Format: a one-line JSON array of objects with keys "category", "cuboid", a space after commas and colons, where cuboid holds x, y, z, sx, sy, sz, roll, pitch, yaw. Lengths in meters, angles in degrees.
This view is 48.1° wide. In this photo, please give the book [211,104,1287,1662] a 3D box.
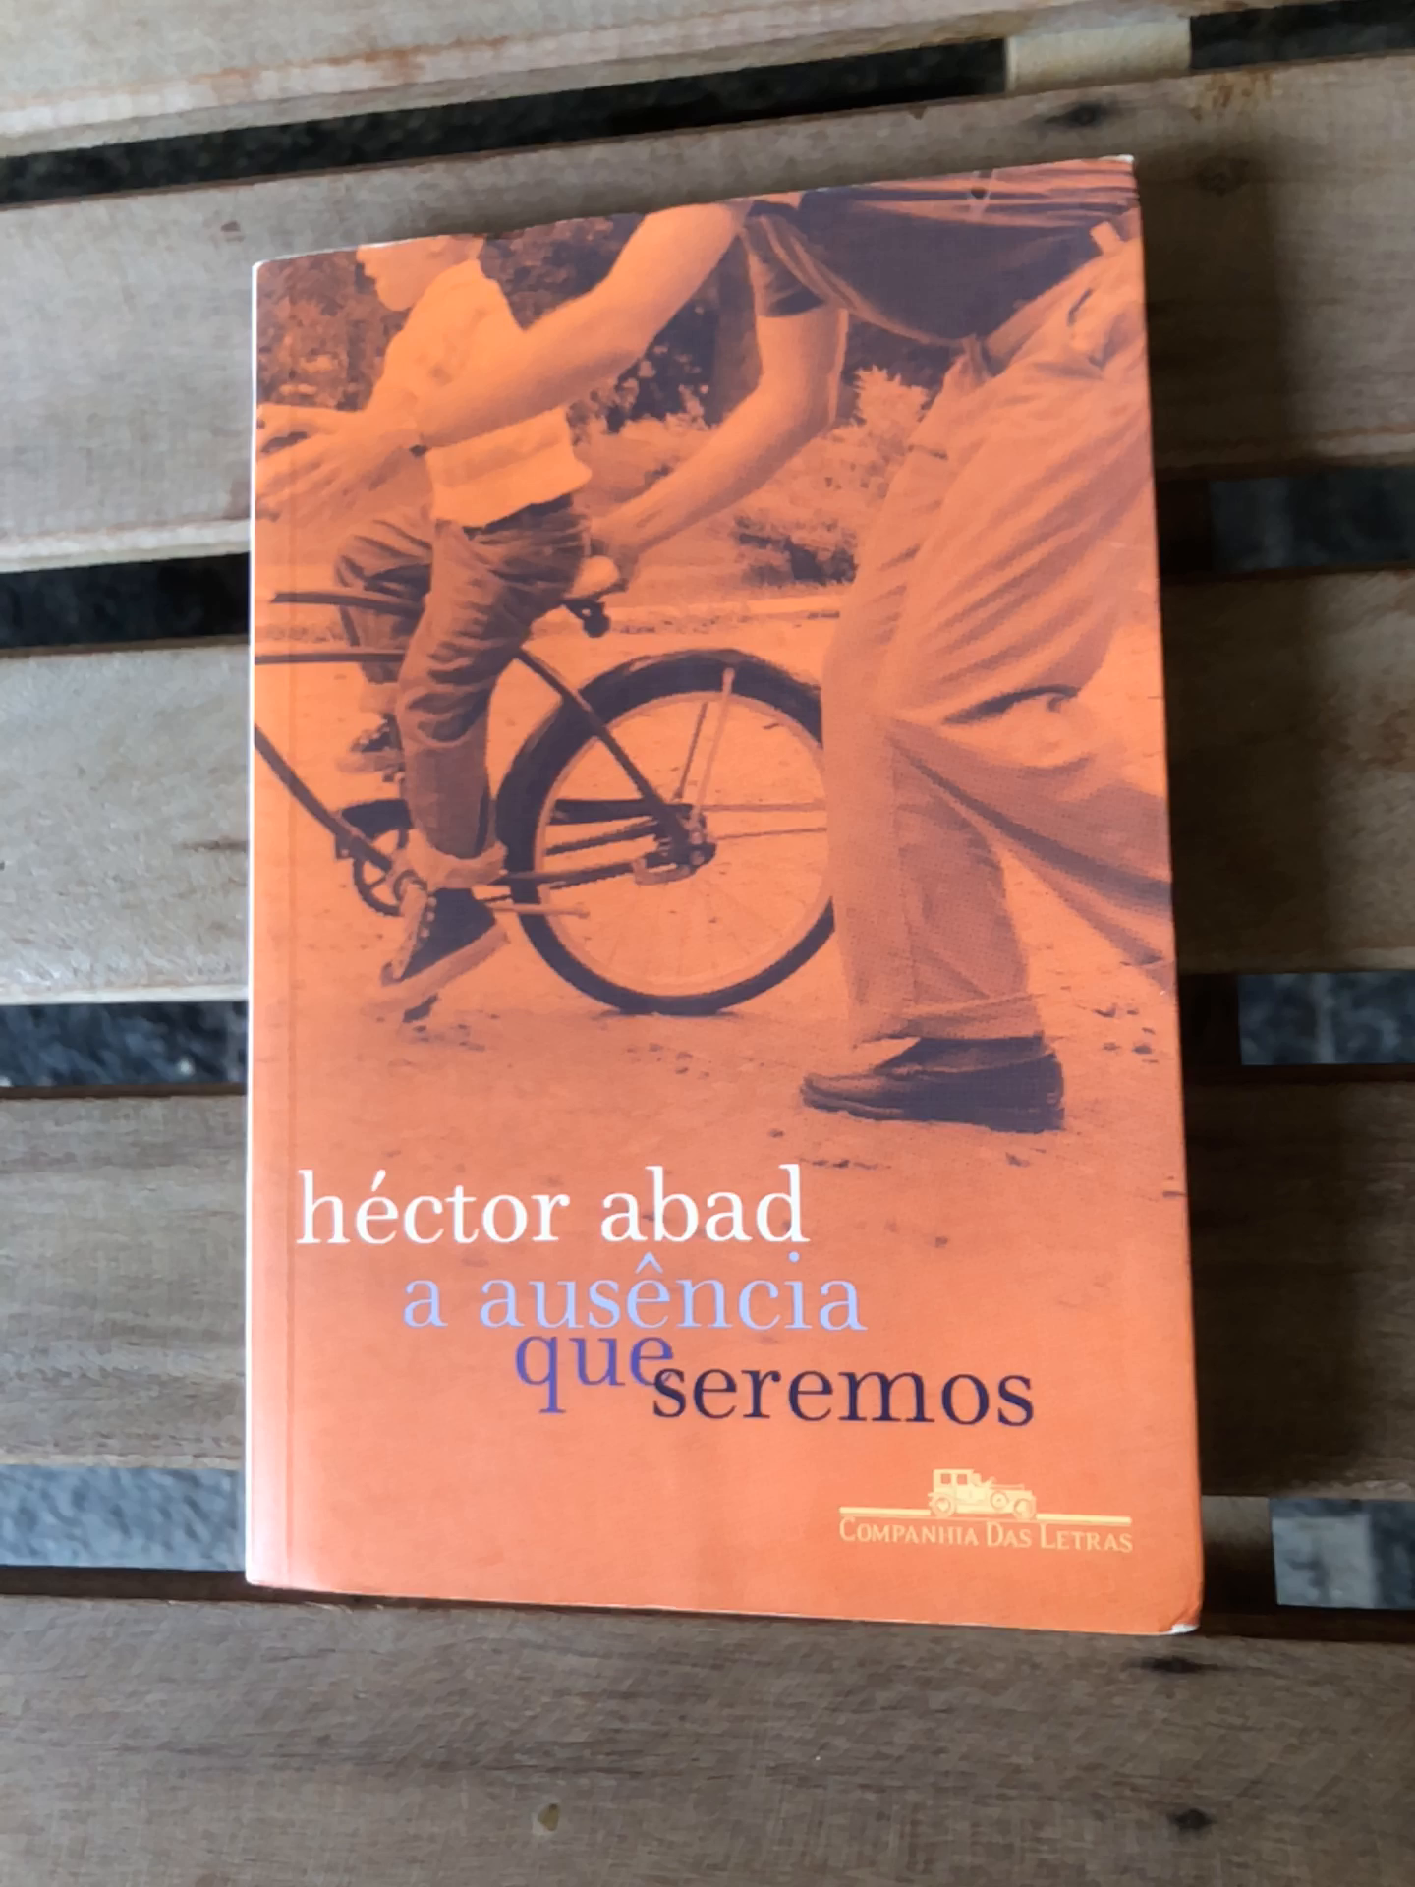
[{"category": "book", "cuboid": [0.001, -0.009, 0.225, 0.142, 0.020, 0.200, -2, 85, 11]}]
